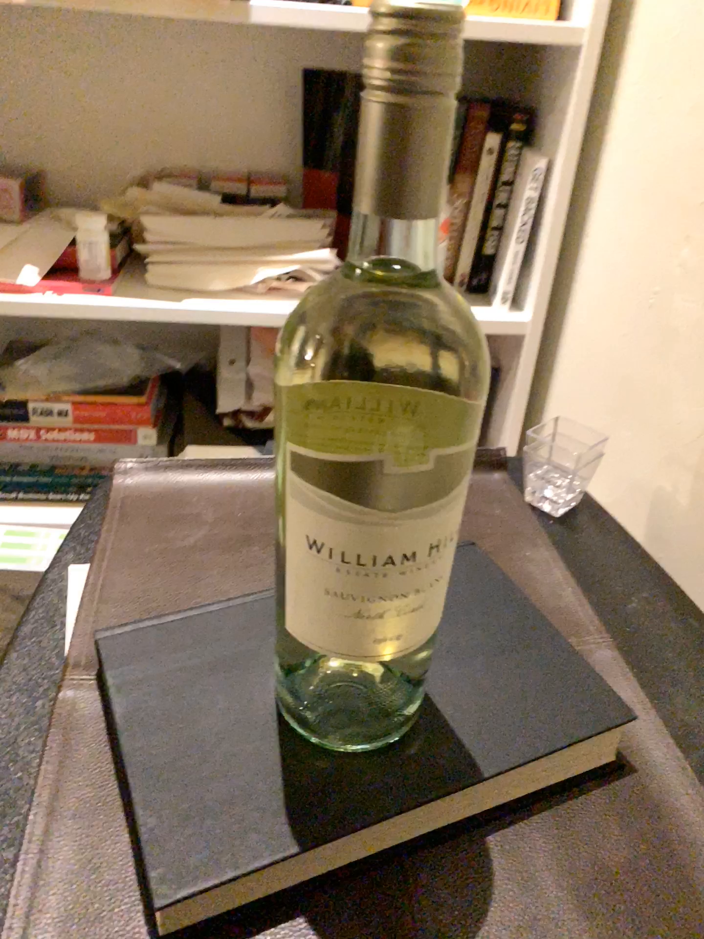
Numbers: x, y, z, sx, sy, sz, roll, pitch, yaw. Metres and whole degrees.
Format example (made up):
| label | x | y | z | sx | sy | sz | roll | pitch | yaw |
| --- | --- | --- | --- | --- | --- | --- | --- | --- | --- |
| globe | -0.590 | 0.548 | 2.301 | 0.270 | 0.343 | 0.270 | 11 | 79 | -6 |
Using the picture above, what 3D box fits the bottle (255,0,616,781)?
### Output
| label | x | y | z | sx | sy | sz | roll | pitch | yaw |
| --- | --- | --- | --- | --- | --- | --- | --- | --- | --- |
| bottle | 0.009 | -0.013 | 0.301 | 0.090 | 0.298 | 0.091 | 3 | 30 | -2 |
